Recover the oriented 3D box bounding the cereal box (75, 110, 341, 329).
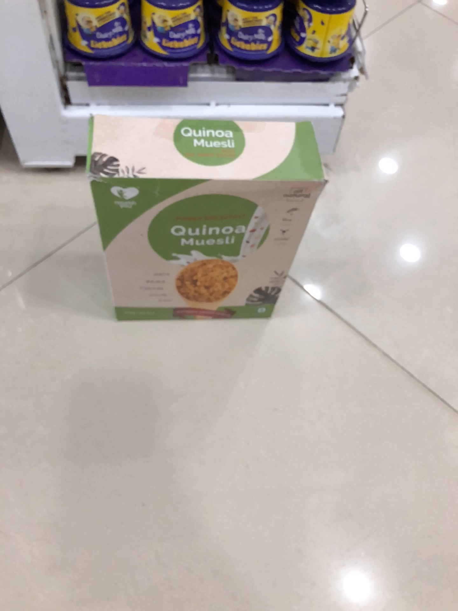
[{"bbox_3d":[-0.022,-0.053,0.405,0.160,0.189,0.060,-1,61,-8],"label":"cereal box"}]
